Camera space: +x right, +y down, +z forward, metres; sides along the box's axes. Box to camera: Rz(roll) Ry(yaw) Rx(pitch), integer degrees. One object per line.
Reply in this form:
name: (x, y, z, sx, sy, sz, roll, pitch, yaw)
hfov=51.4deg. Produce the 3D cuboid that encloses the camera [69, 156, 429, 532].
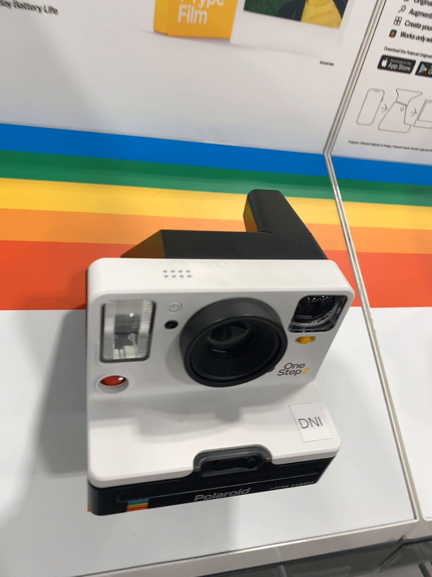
camera: (-0.007, 0.015, 0.220, 0.120, 0.090, 0.145, 0, 42, -17)
